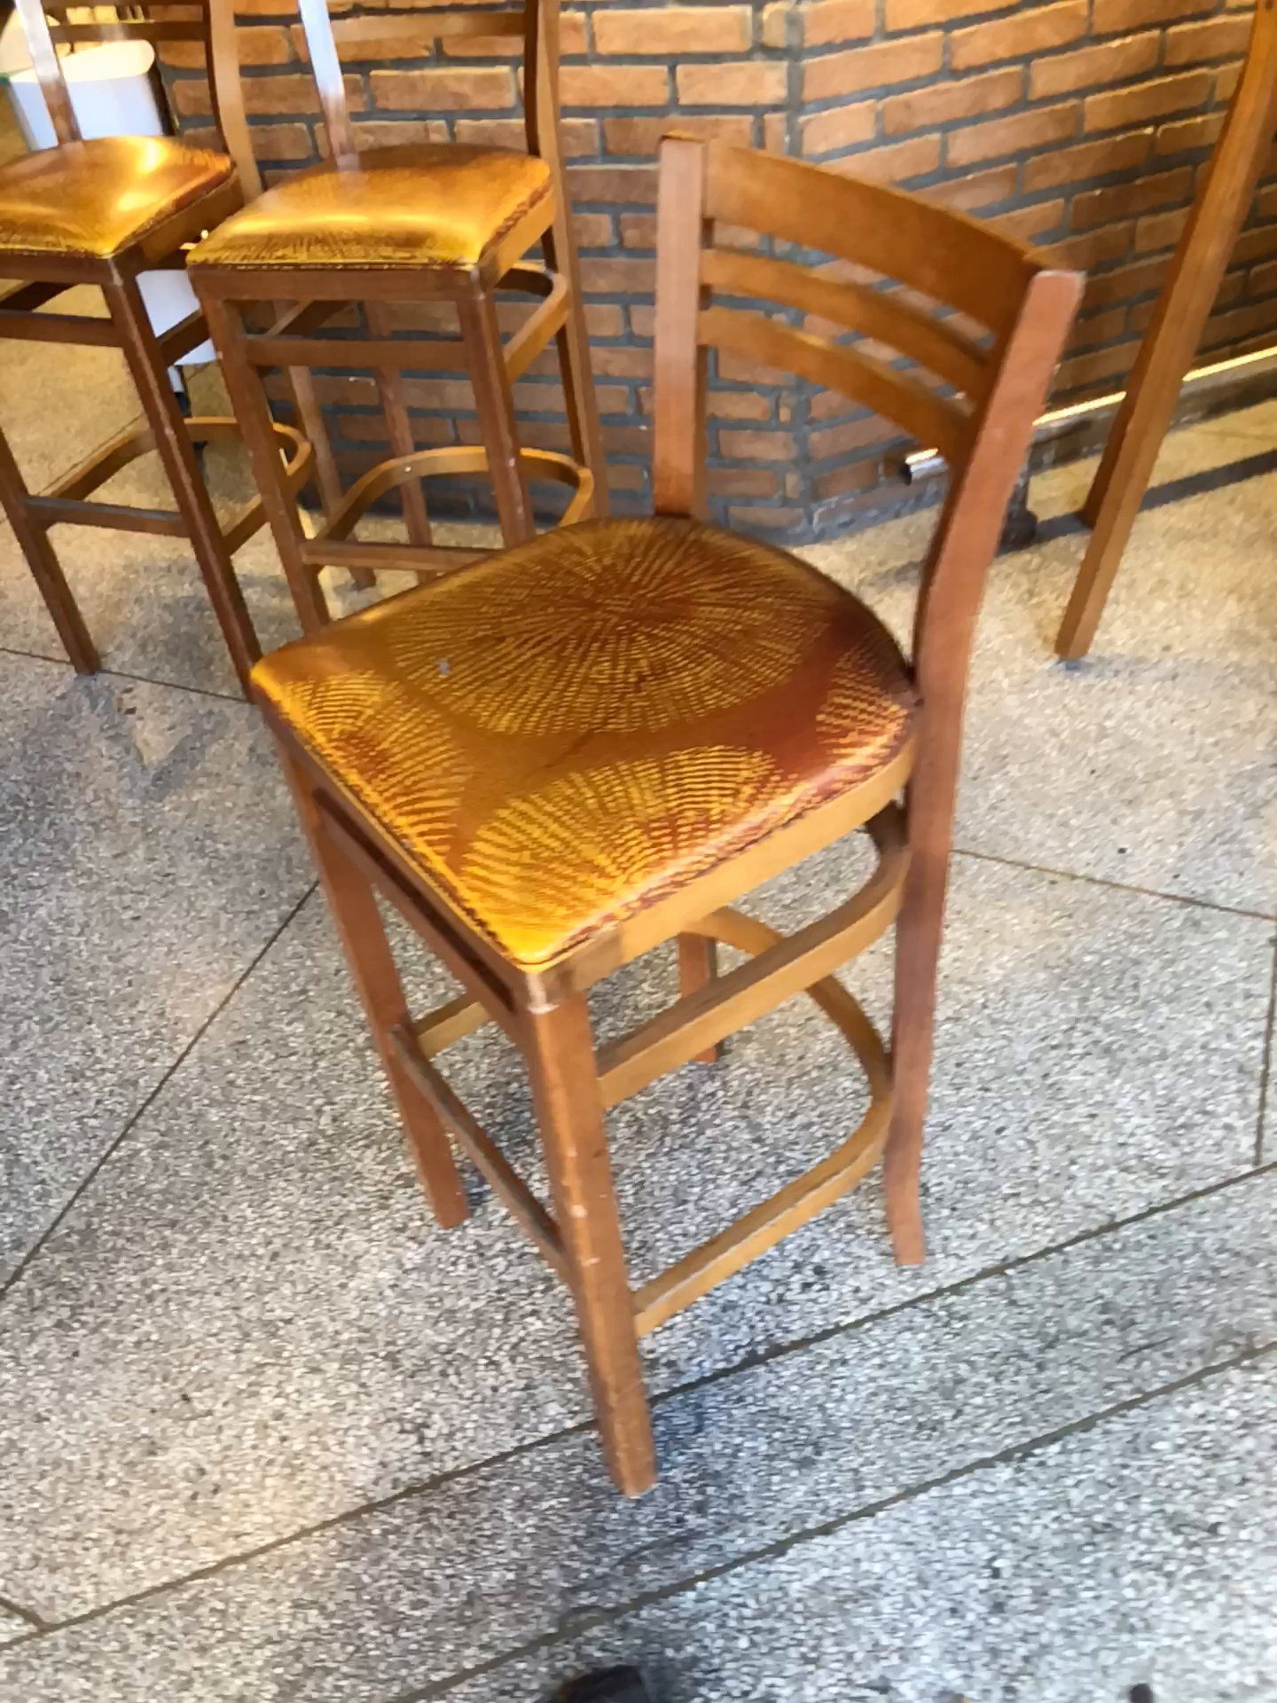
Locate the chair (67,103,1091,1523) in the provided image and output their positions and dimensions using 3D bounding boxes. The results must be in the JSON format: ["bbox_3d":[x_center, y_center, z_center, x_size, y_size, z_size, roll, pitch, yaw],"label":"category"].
[{"bbox_3d":[-0.001,0.030,1.107,0.431,0.973,0.402,-28,45,-20],"label":"chair"}]
